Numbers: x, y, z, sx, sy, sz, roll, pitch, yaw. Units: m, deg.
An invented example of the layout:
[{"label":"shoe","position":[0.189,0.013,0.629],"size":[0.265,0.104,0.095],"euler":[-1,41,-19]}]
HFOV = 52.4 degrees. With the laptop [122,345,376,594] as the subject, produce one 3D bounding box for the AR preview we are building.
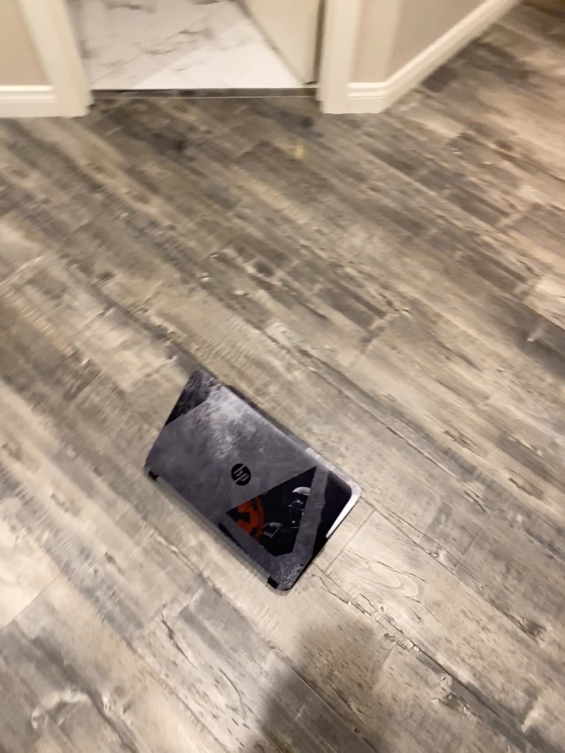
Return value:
[{"label":"laptop","position":[-0.062,0.170,1.087],"size":[0.374,0.177,0.250],"euler":[36,66,17]}]
